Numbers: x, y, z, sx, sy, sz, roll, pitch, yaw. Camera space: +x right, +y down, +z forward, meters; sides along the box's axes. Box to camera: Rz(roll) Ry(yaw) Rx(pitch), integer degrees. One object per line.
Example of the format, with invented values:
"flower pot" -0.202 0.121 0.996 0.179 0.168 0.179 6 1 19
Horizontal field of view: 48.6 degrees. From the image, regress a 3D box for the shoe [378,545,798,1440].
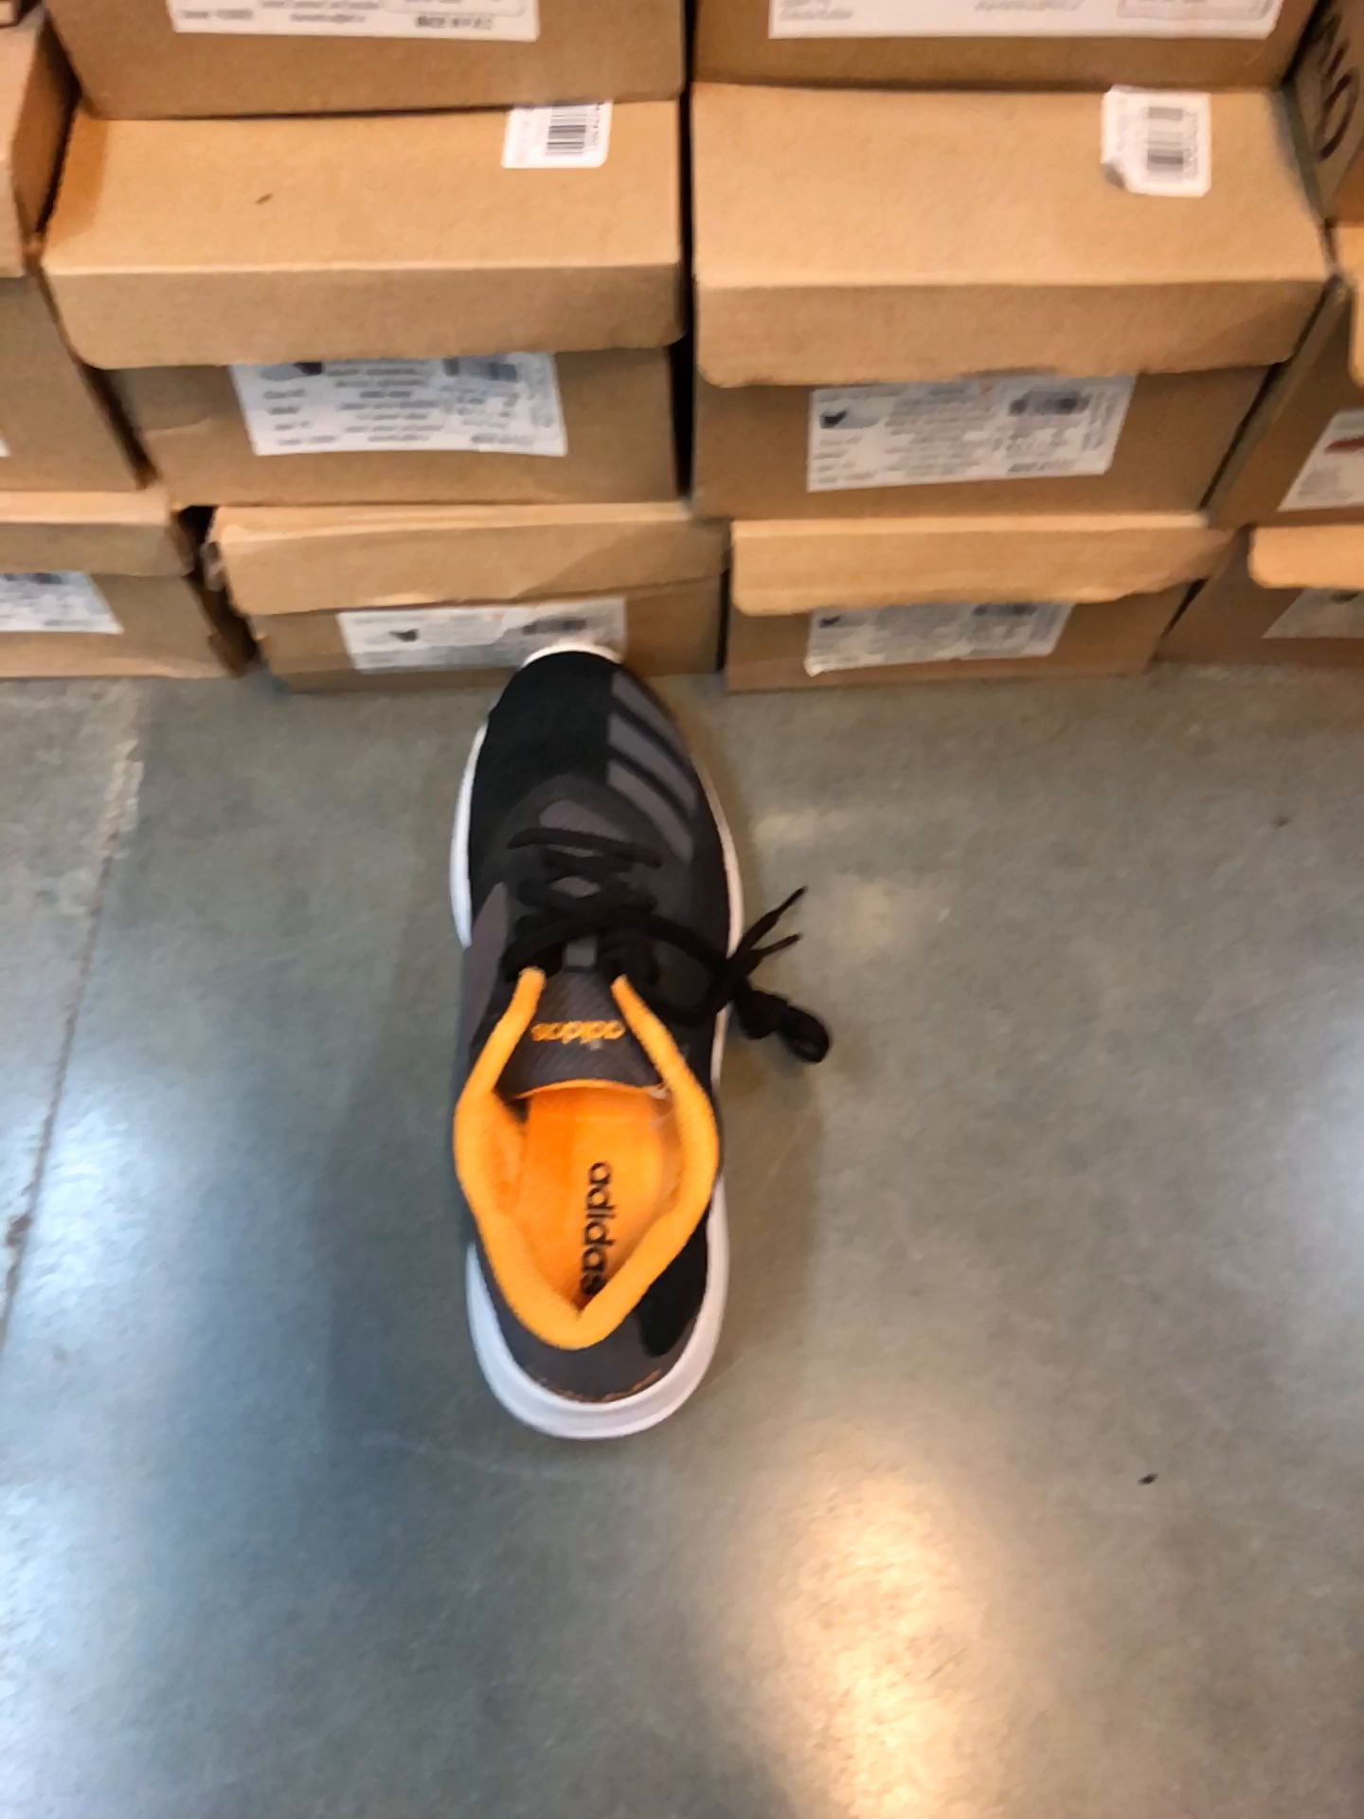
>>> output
"shoe" -0.029 0.028 0.501 0.110 0.117 0.271 -1 68 -2
